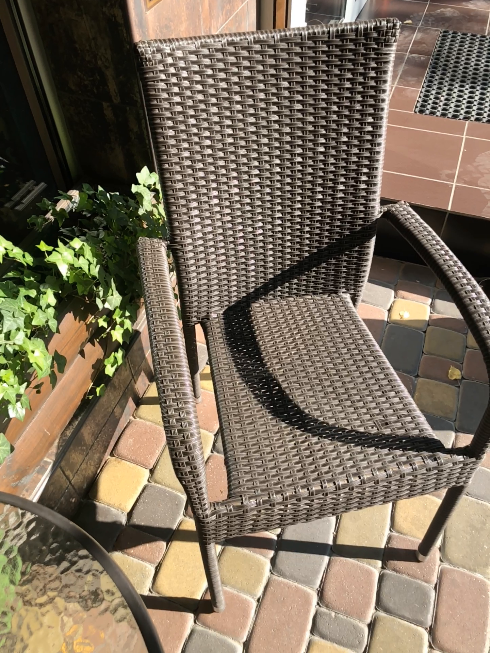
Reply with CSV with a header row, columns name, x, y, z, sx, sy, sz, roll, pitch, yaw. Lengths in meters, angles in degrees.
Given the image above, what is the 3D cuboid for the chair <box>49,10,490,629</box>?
name,x,y,z,sx,sy,sz,roll,pitch,yaw
chair,0.069,0.032,1.060,0.610,0.907,0.722,-9,50,-7
